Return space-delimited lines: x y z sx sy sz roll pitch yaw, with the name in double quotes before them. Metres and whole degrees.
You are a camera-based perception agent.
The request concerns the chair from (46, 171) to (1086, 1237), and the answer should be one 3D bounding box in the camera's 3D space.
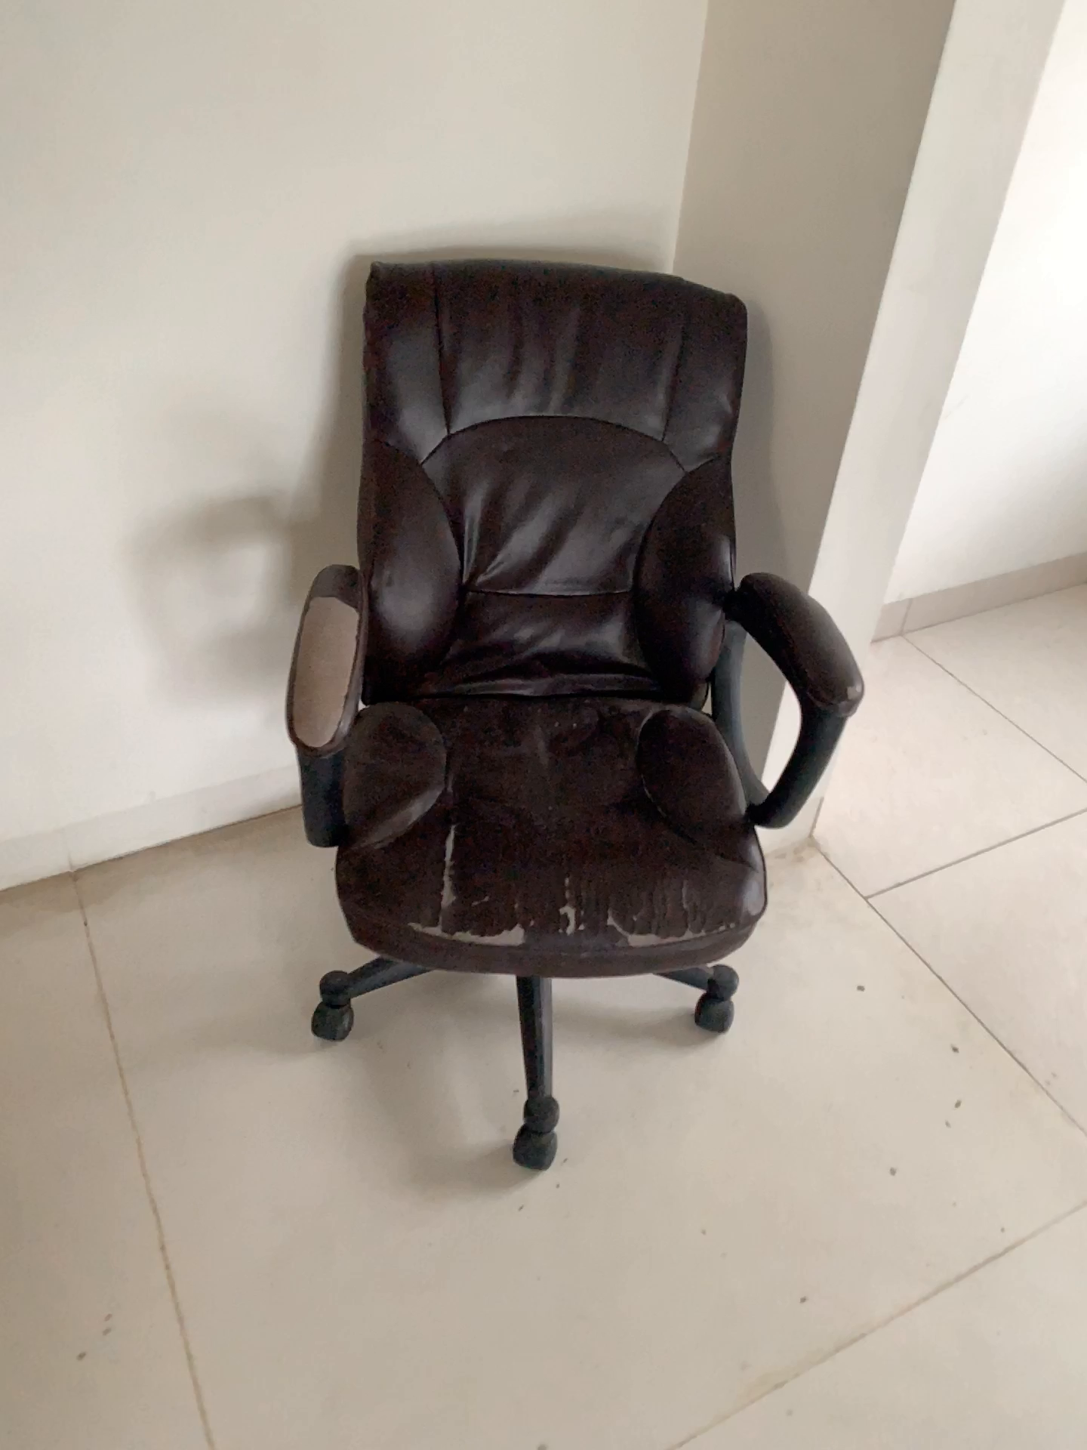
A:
"chair" -0.023 -0.019 1.351 0.700 0.996 0.793 0 39 -5
